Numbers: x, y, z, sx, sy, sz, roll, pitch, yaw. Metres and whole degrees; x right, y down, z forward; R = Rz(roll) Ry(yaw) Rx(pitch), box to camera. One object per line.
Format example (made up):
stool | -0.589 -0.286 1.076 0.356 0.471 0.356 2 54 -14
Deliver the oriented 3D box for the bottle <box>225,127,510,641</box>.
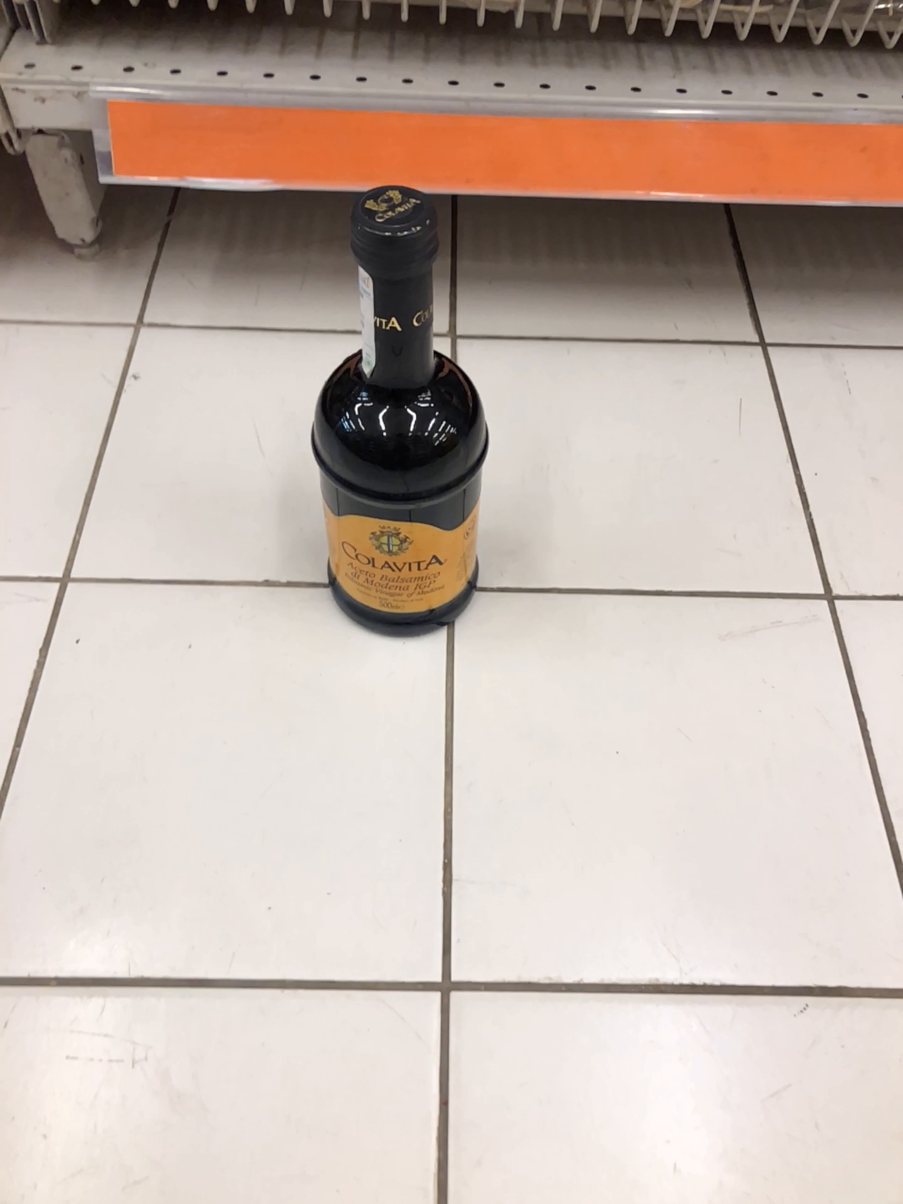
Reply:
bottle | -0.029 -0.078 0.423 0.090 0.199 0.091 1 54 -2
